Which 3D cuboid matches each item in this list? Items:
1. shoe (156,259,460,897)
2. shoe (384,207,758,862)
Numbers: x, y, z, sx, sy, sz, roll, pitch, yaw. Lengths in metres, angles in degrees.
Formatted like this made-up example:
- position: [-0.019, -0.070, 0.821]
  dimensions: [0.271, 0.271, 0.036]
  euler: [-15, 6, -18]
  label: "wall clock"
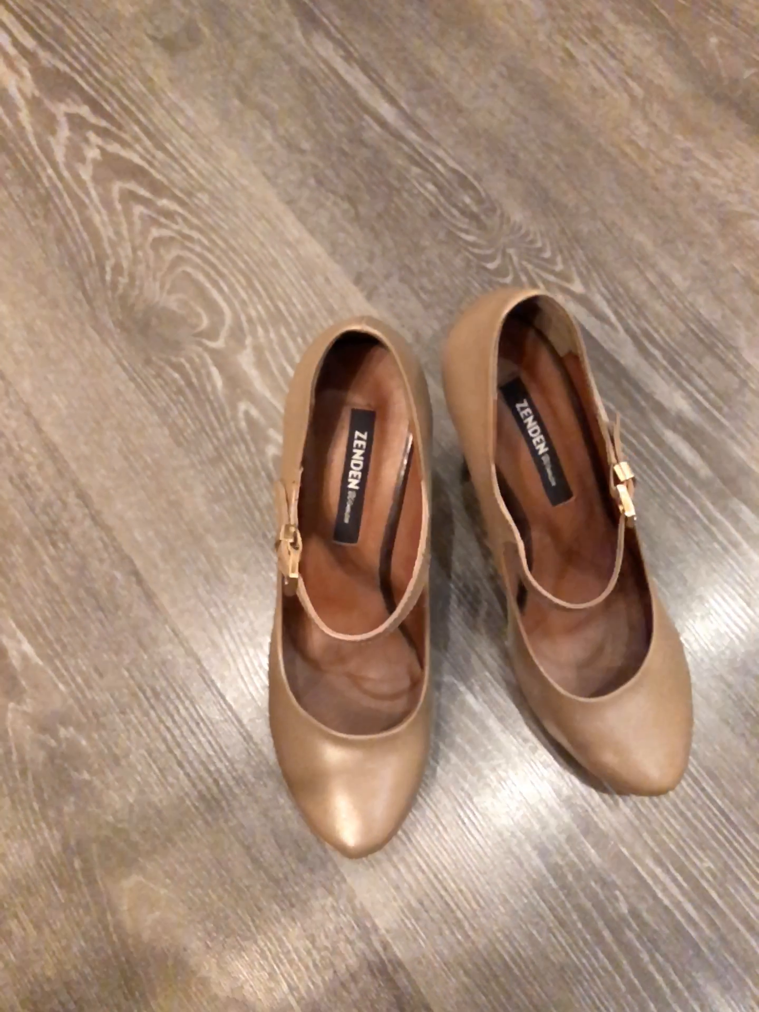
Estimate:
- position: [-0.019, 0.034, 0.356]
  dimensions: [0.090, 0.150, 0.220]
  euler: [0, 71, 1]
  label: "shoe"
- position: [0.084, 0.021, 0.358]
  dimensions: [0.090, 0.160, 0.210]
  euler: [-21, 72, -6]
  label: "shoe"
